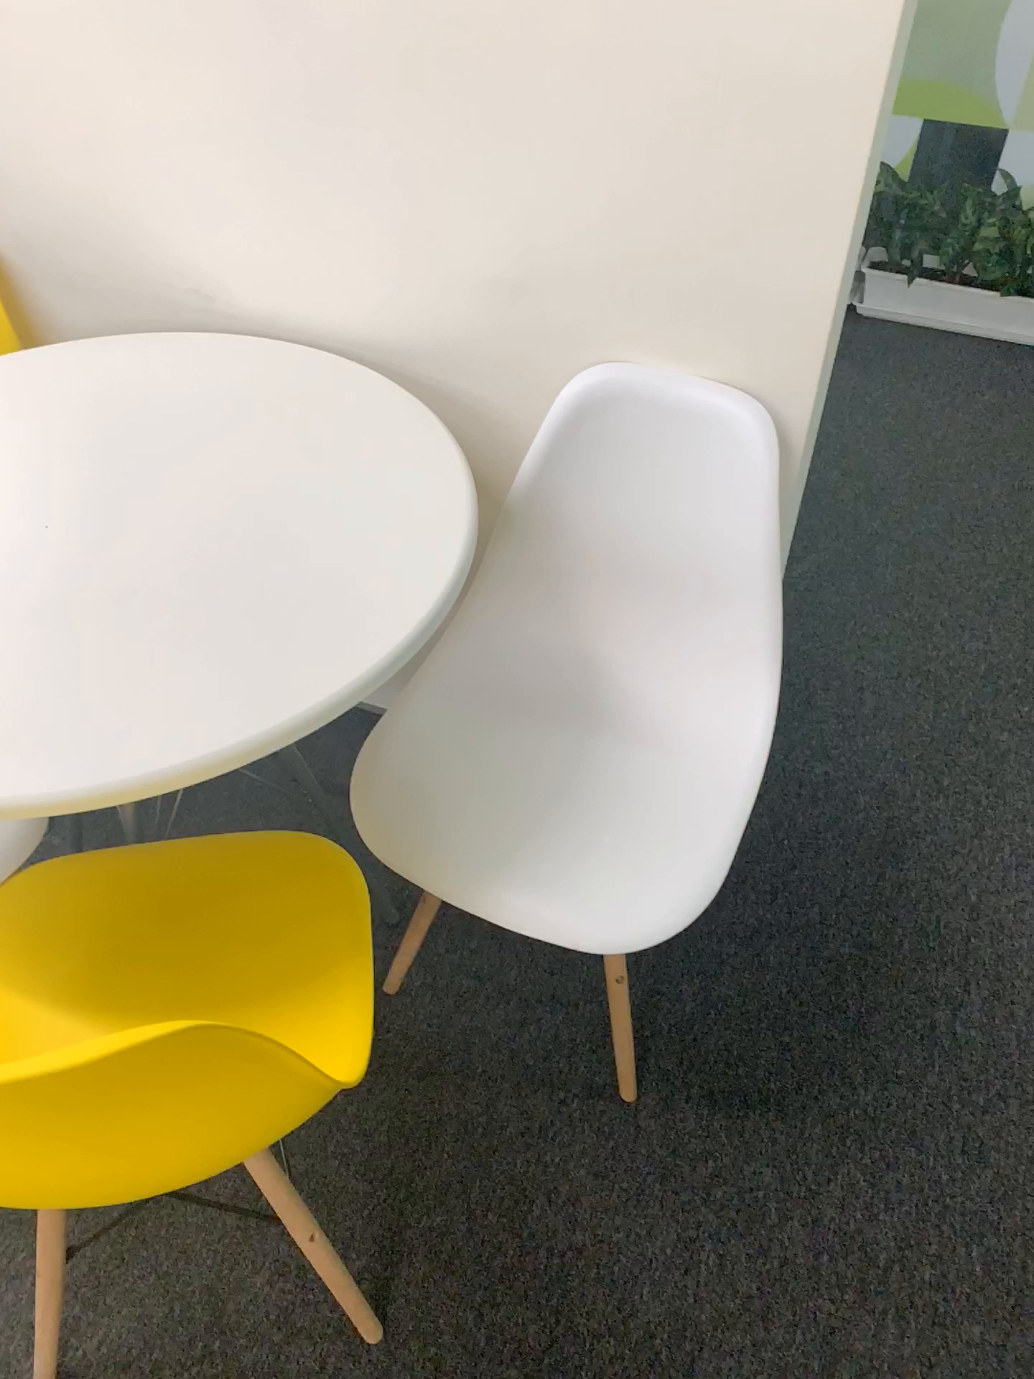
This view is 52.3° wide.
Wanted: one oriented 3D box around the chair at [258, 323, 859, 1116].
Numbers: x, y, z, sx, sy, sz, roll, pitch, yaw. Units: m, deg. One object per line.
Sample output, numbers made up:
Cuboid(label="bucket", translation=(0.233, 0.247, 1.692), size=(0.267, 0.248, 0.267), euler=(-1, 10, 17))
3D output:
Cuboid(label="chair", translation=(0.061, 0.076, 1.379), size=(0.480, 0.876, 0.442), euler=(18, 47, 16))
